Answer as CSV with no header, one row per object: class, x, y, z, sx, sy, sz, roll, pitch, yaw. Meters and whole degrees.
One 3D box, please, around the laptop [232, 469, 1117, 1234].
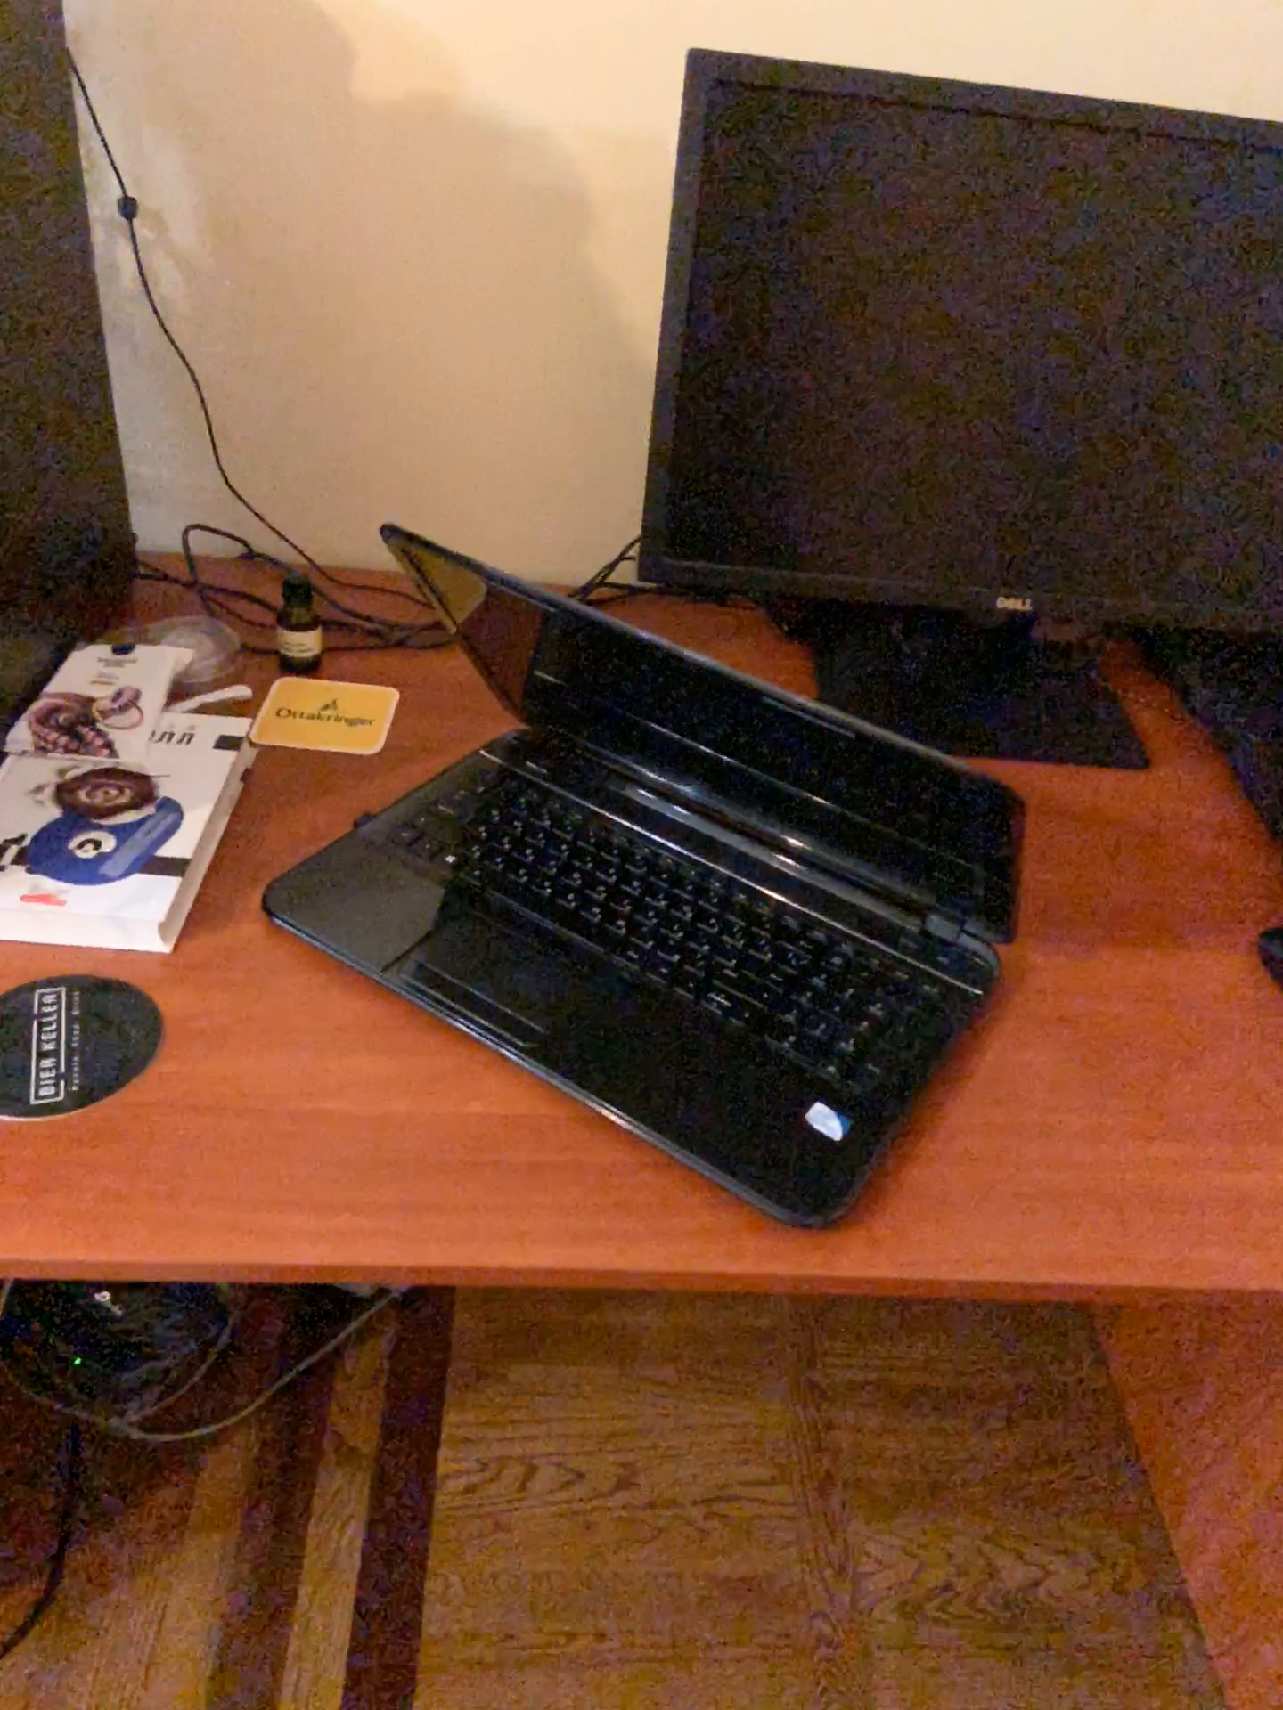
laptop,0.010,-0.031,0.703,0.370,0.194,0.245,26,41,23
